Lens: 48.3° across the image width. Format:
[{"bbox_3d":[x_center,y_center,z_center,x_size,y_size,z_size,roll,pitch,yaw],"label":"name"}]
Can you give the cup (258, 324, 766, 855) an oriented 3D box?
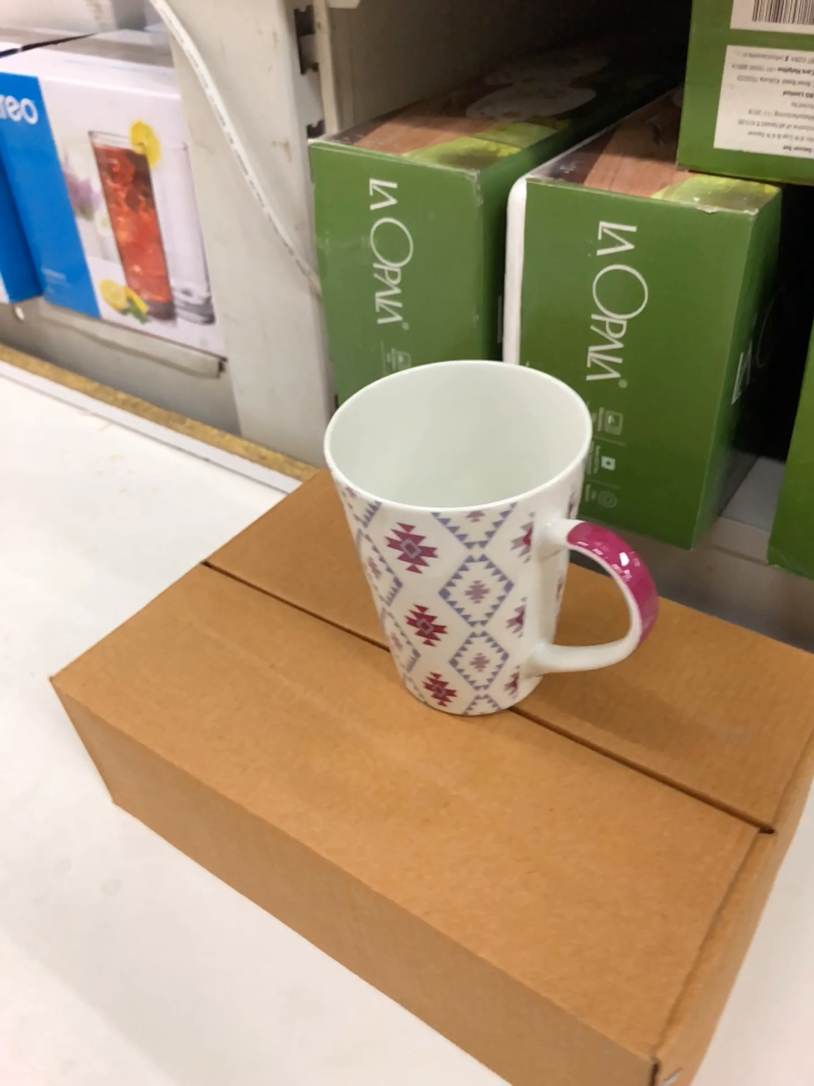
[{"bbox_3d":[0.028,0.007,0.288,0.080,0.099,0.120,-33,47,-32],"label":"cup"}]
